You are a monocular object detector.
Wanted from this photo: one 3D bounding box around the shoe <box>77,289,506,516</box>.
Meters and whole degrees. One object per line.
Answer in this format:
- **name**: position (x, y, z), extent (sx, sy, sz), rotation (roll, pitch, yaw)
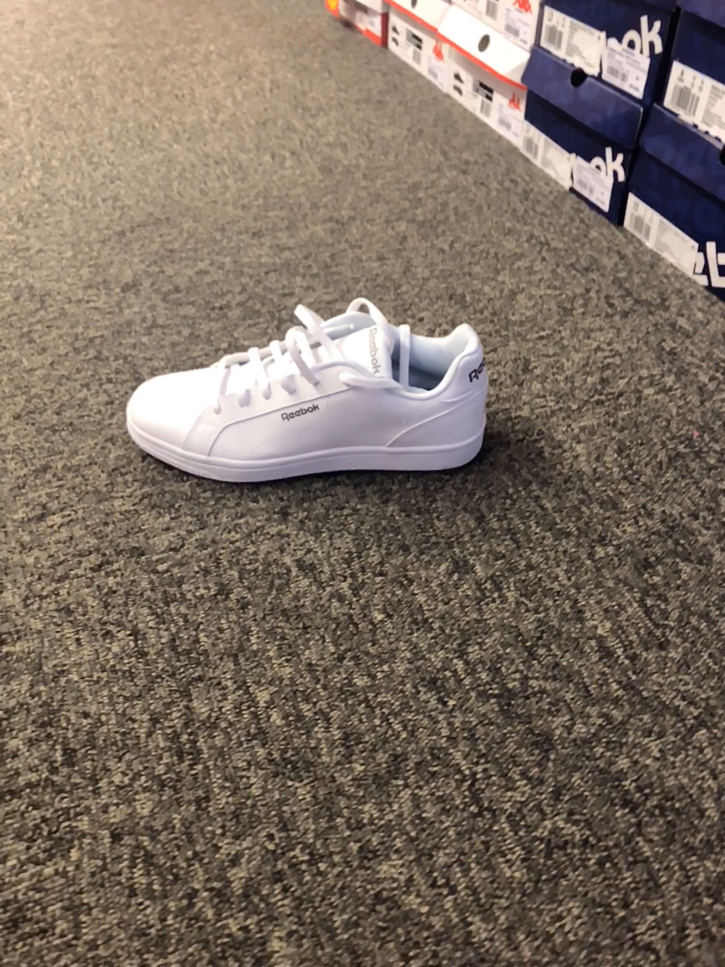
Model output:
- **shoe**: position (-0.037, -0.053, 0.545), extent (0.260, 0.100, 0.101), rotation (-2, 45, 8)
